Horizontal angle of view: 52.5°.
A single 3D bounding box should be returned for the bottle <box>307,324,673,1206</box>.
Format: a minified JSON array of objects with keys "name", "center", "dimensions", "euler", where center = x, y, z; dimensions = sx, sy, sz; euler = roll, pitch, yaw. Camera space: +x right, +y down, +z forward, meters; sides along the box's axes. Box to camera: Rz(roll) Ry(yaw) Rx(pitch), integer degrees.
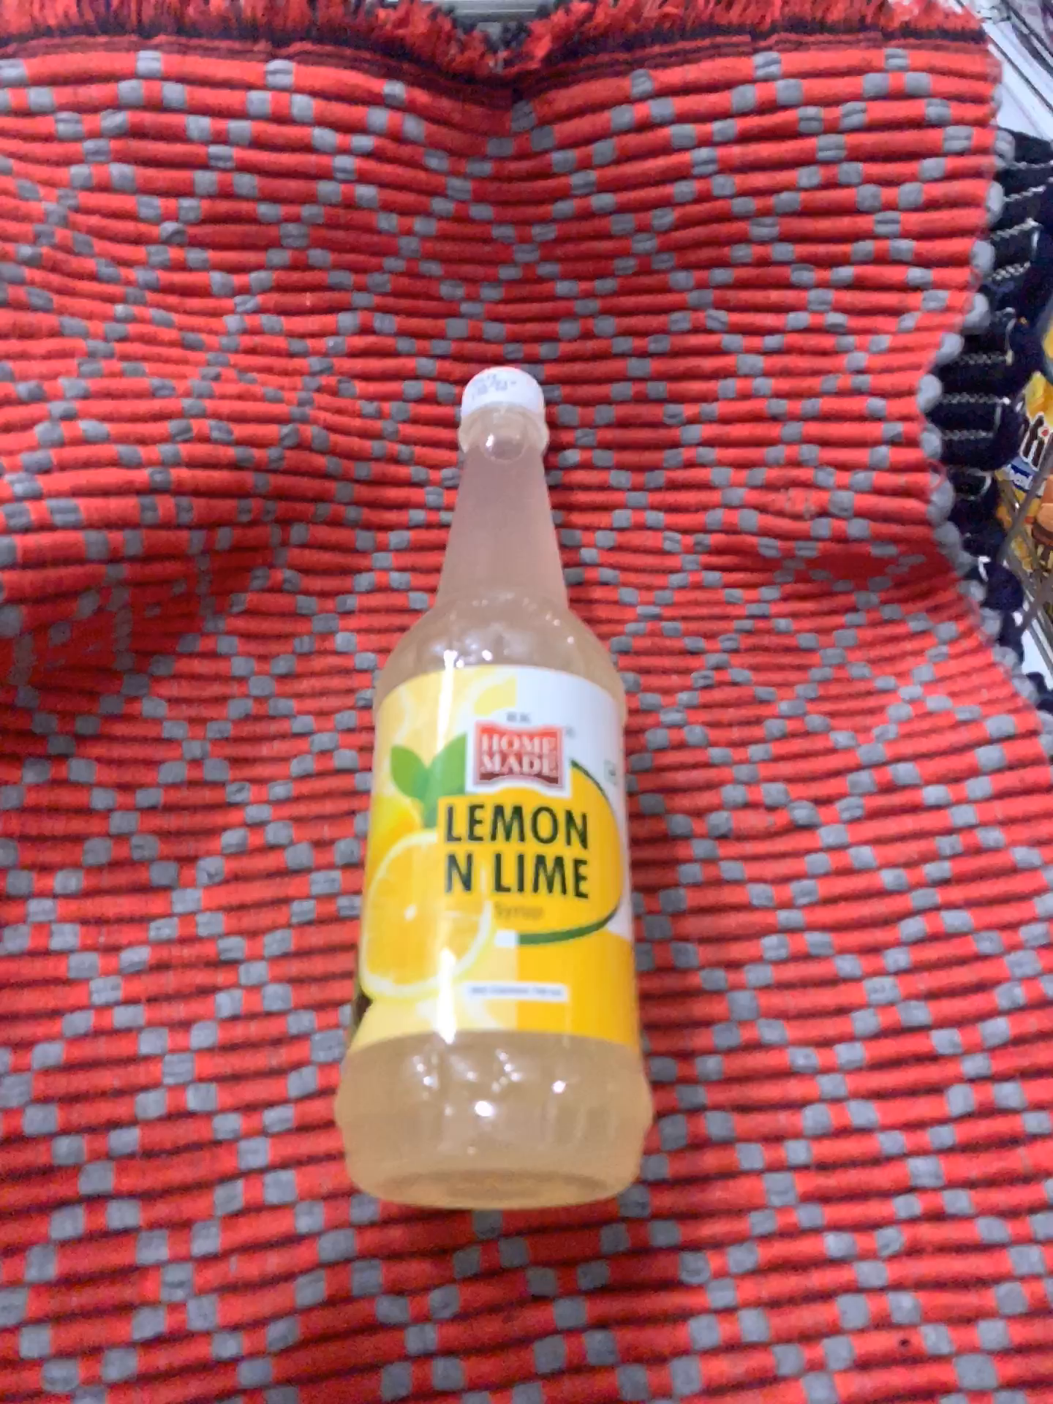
[{"name":"bottle","center":[-0.008,-0.002,0.310],"dimensions":[0.070,0.070,0.261],"euler":[0,53,-1]}]
